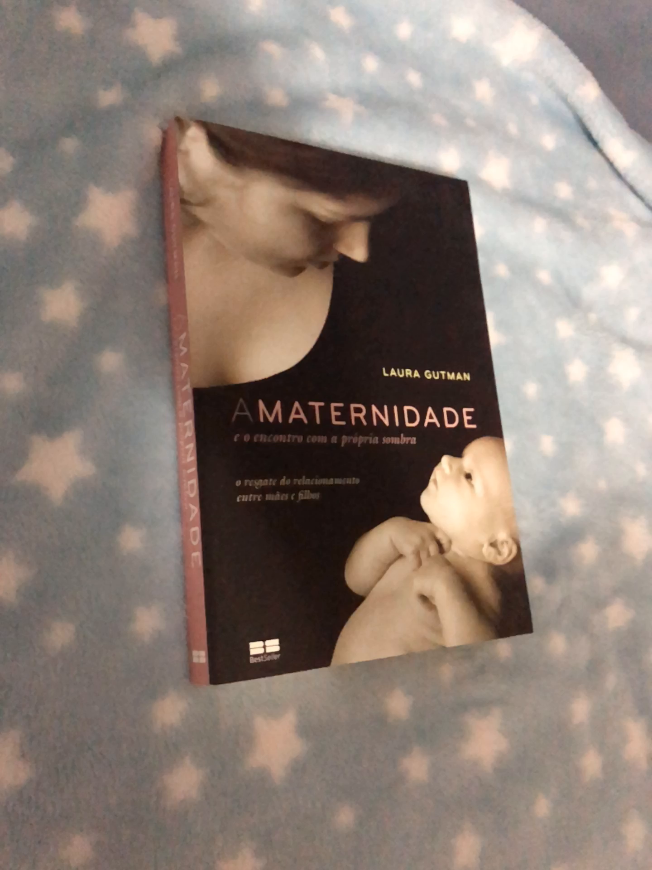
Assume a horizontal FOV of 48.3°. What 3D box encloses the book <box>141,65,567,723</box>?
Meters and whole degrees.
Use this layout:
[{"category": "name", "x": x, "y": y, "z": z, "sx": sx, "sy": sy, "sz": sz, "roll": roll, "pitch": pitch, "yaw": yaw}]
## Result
[{"category": "book", "x": 0.012, "y": -0.022, "z": 0.305, "sx": 0.161, "sy": 0.030, "sz": 0.240, "roll": 1, "pitch": 75, "yaw": -29}]
